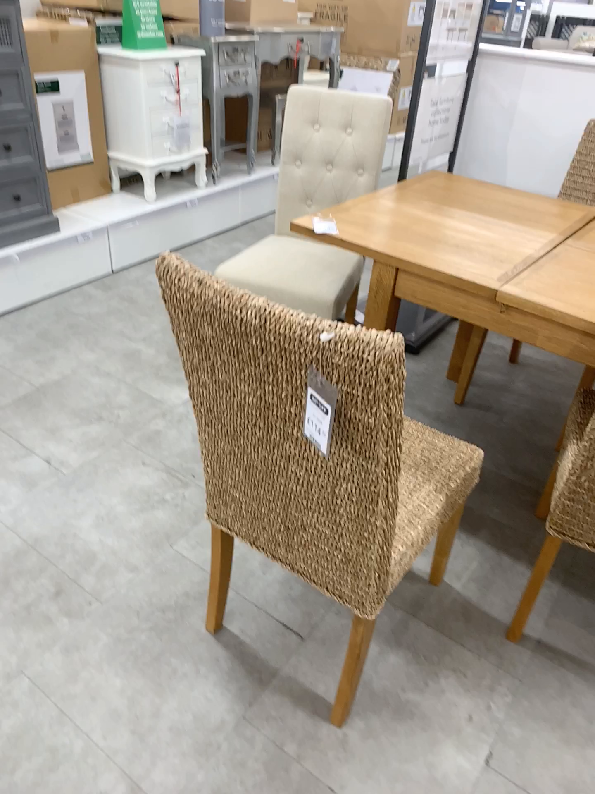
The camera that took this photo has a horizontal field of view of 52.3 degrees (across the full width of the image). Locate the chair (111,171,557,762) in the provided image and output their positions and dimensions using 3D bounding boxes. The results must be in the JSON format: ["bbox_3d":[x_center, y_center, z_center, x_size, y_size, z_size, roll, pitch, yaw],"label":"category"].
[{"bbox_3d":[0.061,0.112,1.217,0.489,0.903,0.566,24,39,27],"label":"chair"}]

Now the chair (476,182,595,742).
[{"bbox_3d":[0.758,0.115,1.247,0.438,0.893,0.556,20,37,22],"label":"chair"}]

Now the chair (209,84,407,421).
[{"bbox_3d":[0.024,-0.479,2.001,0.398,0.903,0.516,18,36,19],"label":"chair"}]
